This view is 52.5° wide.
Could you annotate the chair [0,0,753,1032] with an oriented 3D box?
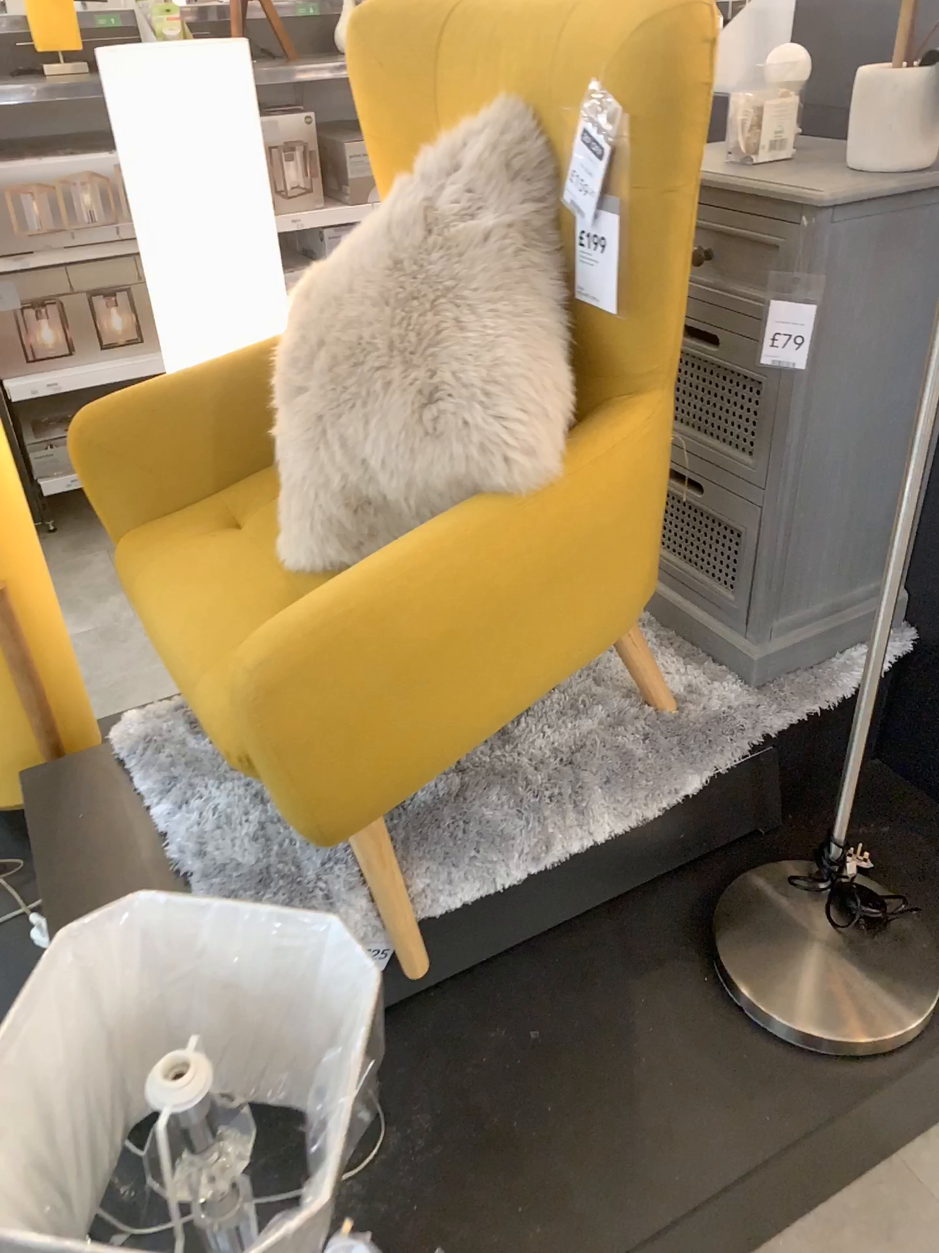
[{"bbox_3d":[-0.116,-0.177,1.227,0.712,1.019,0.594,-27,39,-18],"label":"chair"}]
